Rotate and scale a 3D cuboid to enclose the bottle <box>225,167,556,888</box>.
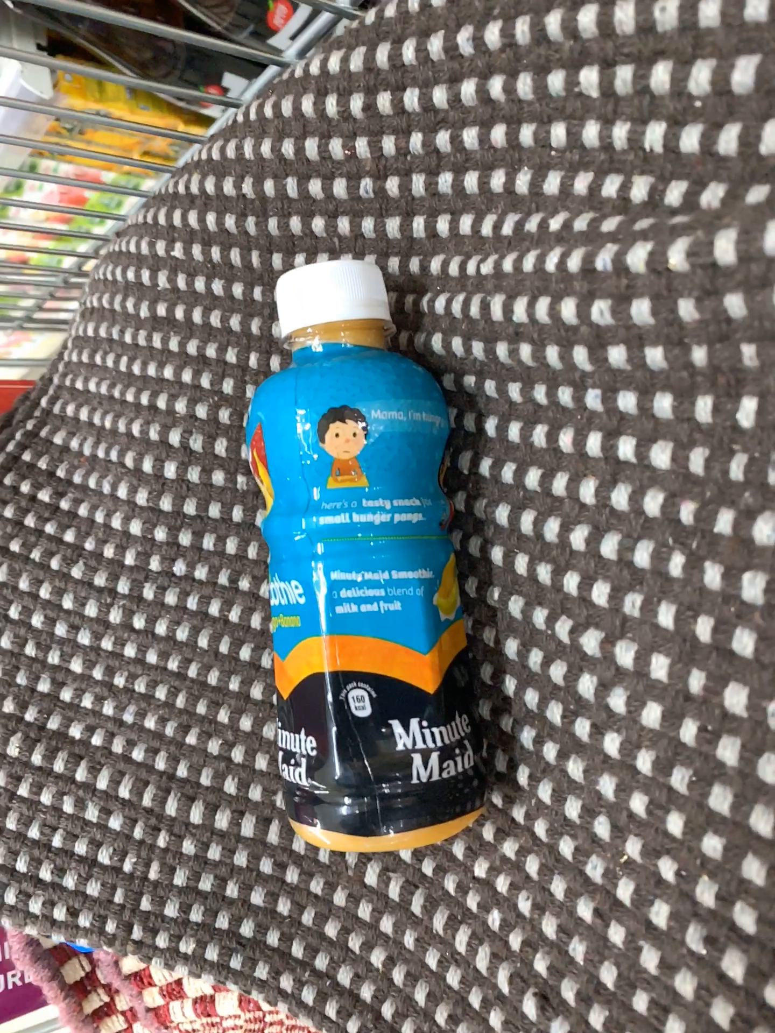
[{"bbox_3d":[-0.001,0.003,0.213,0.060,0.040,0.160,-8,88,48],"label":"bottle"}]
